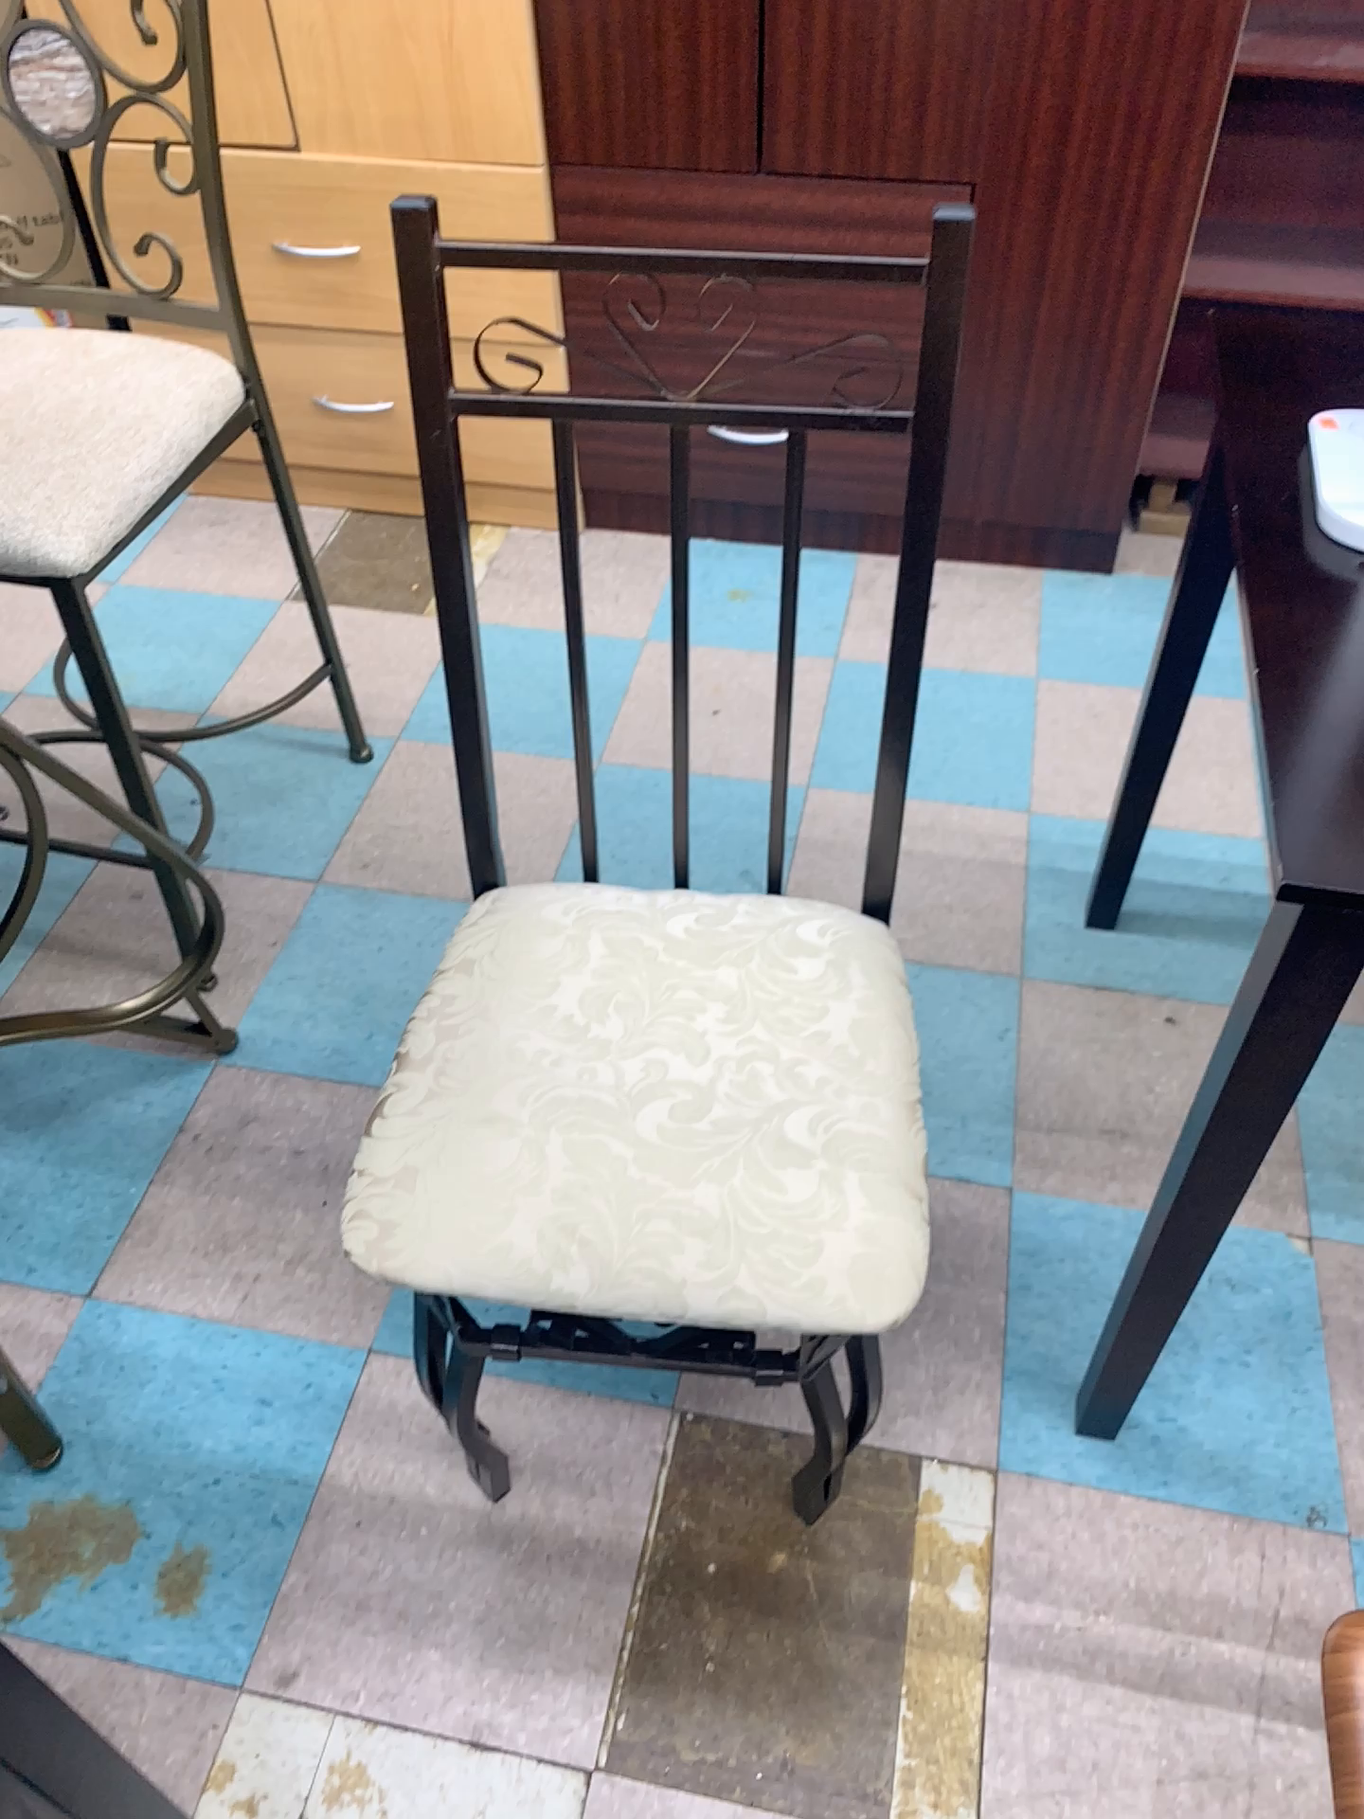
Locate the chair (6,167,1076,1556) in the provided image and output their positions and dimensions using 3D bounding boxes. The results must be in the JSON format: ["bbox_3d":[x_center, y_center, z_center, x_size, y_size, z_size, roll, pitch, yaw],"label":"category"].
[{"bbox_3d":[-0.023,0.045,1.037,0.415,0.951,0.478,4,47,6],"label":"chair"}]
